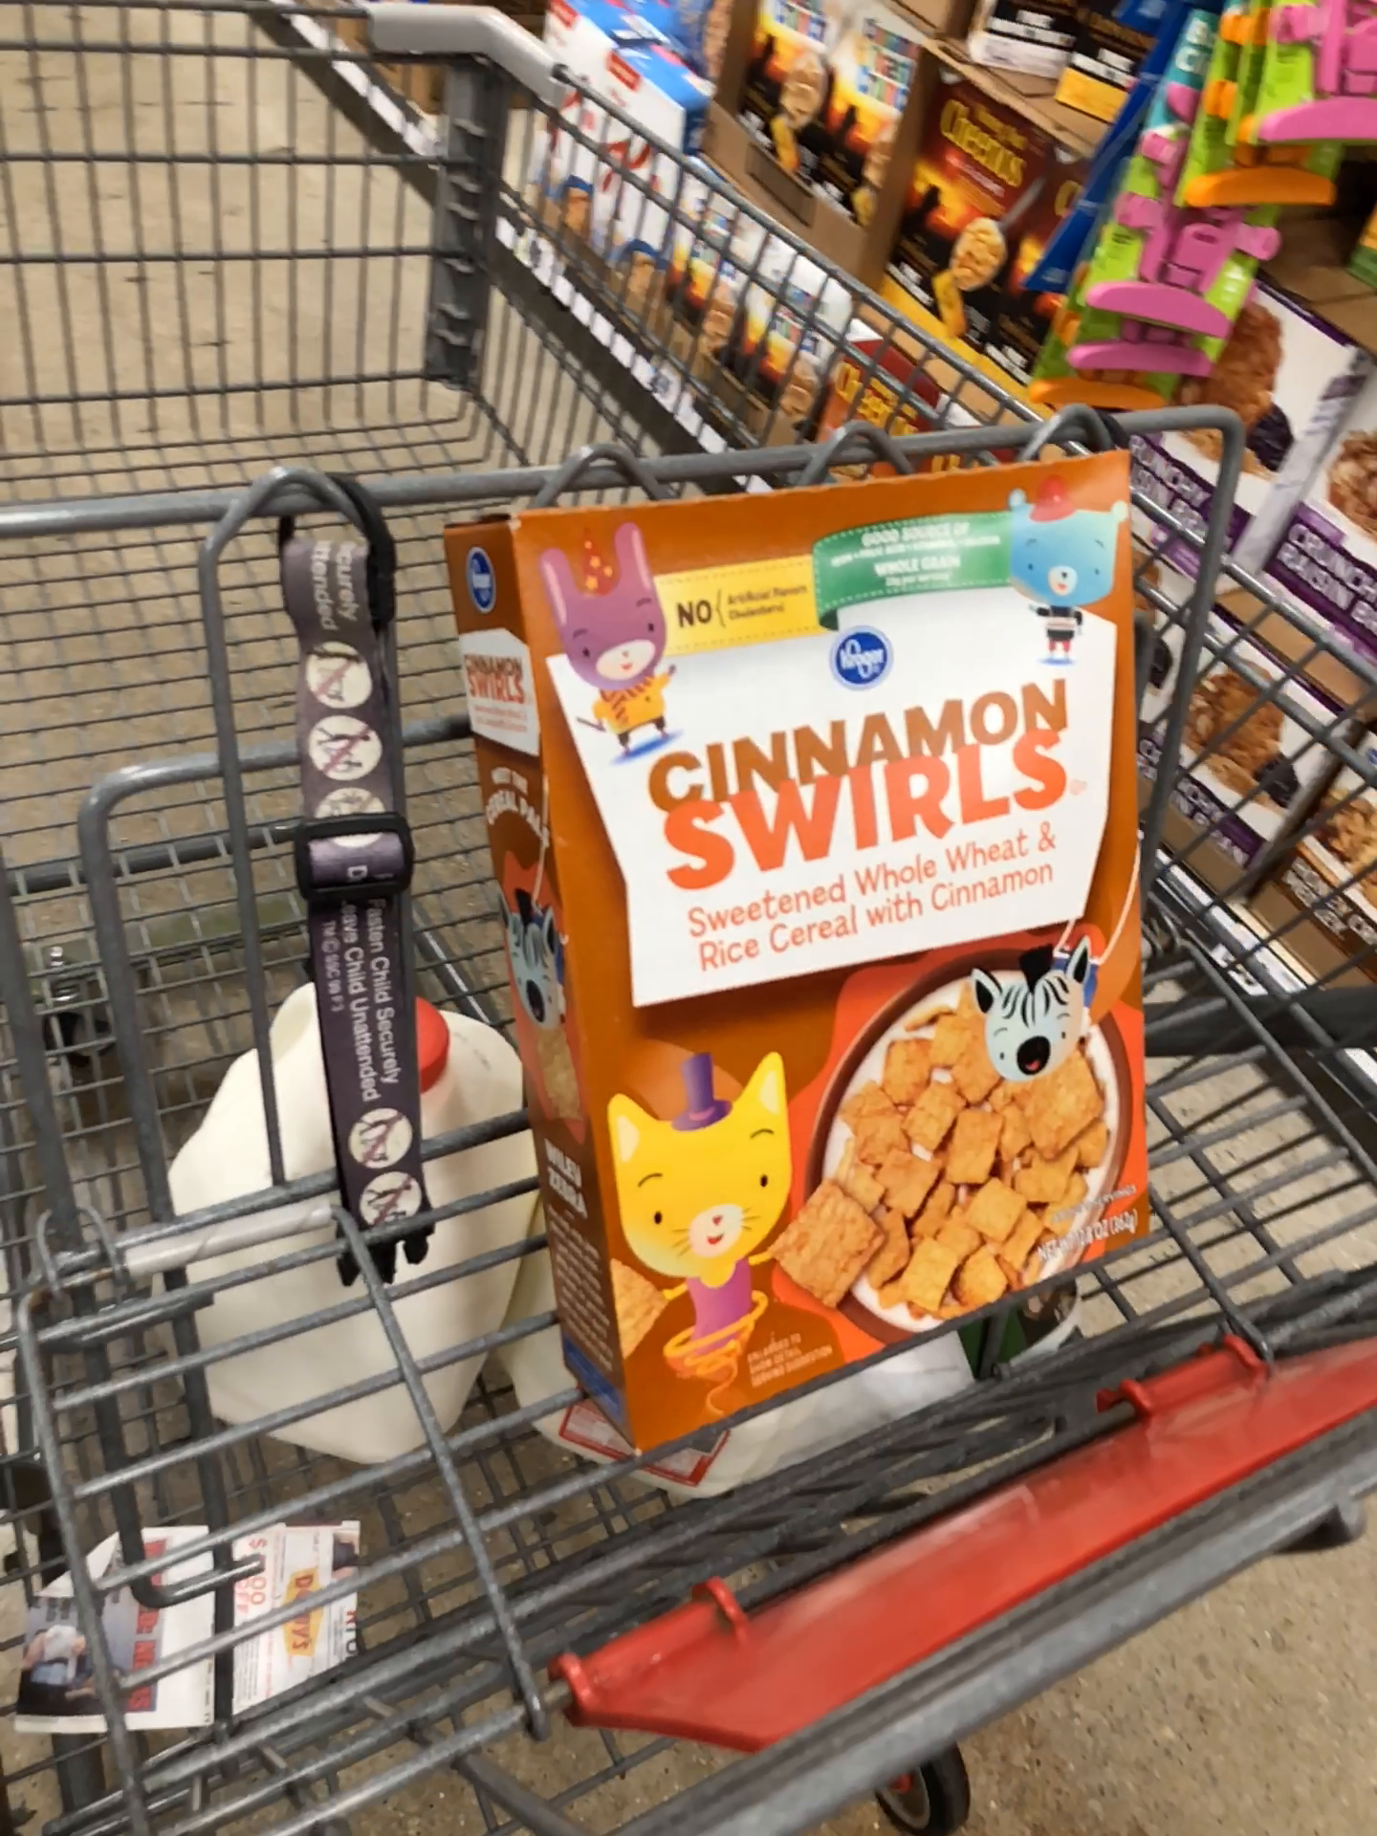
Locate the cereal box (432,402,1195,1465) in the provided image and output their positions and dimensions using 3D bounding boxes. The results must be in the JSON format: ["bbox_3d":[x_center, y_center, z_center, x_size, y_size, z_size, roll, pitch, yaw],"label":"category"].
[{"bbox_3d":[0.051,-0.005,0.436,0.210,0.260,0.050,-13,18,-27],"label":"cereal box"}]
